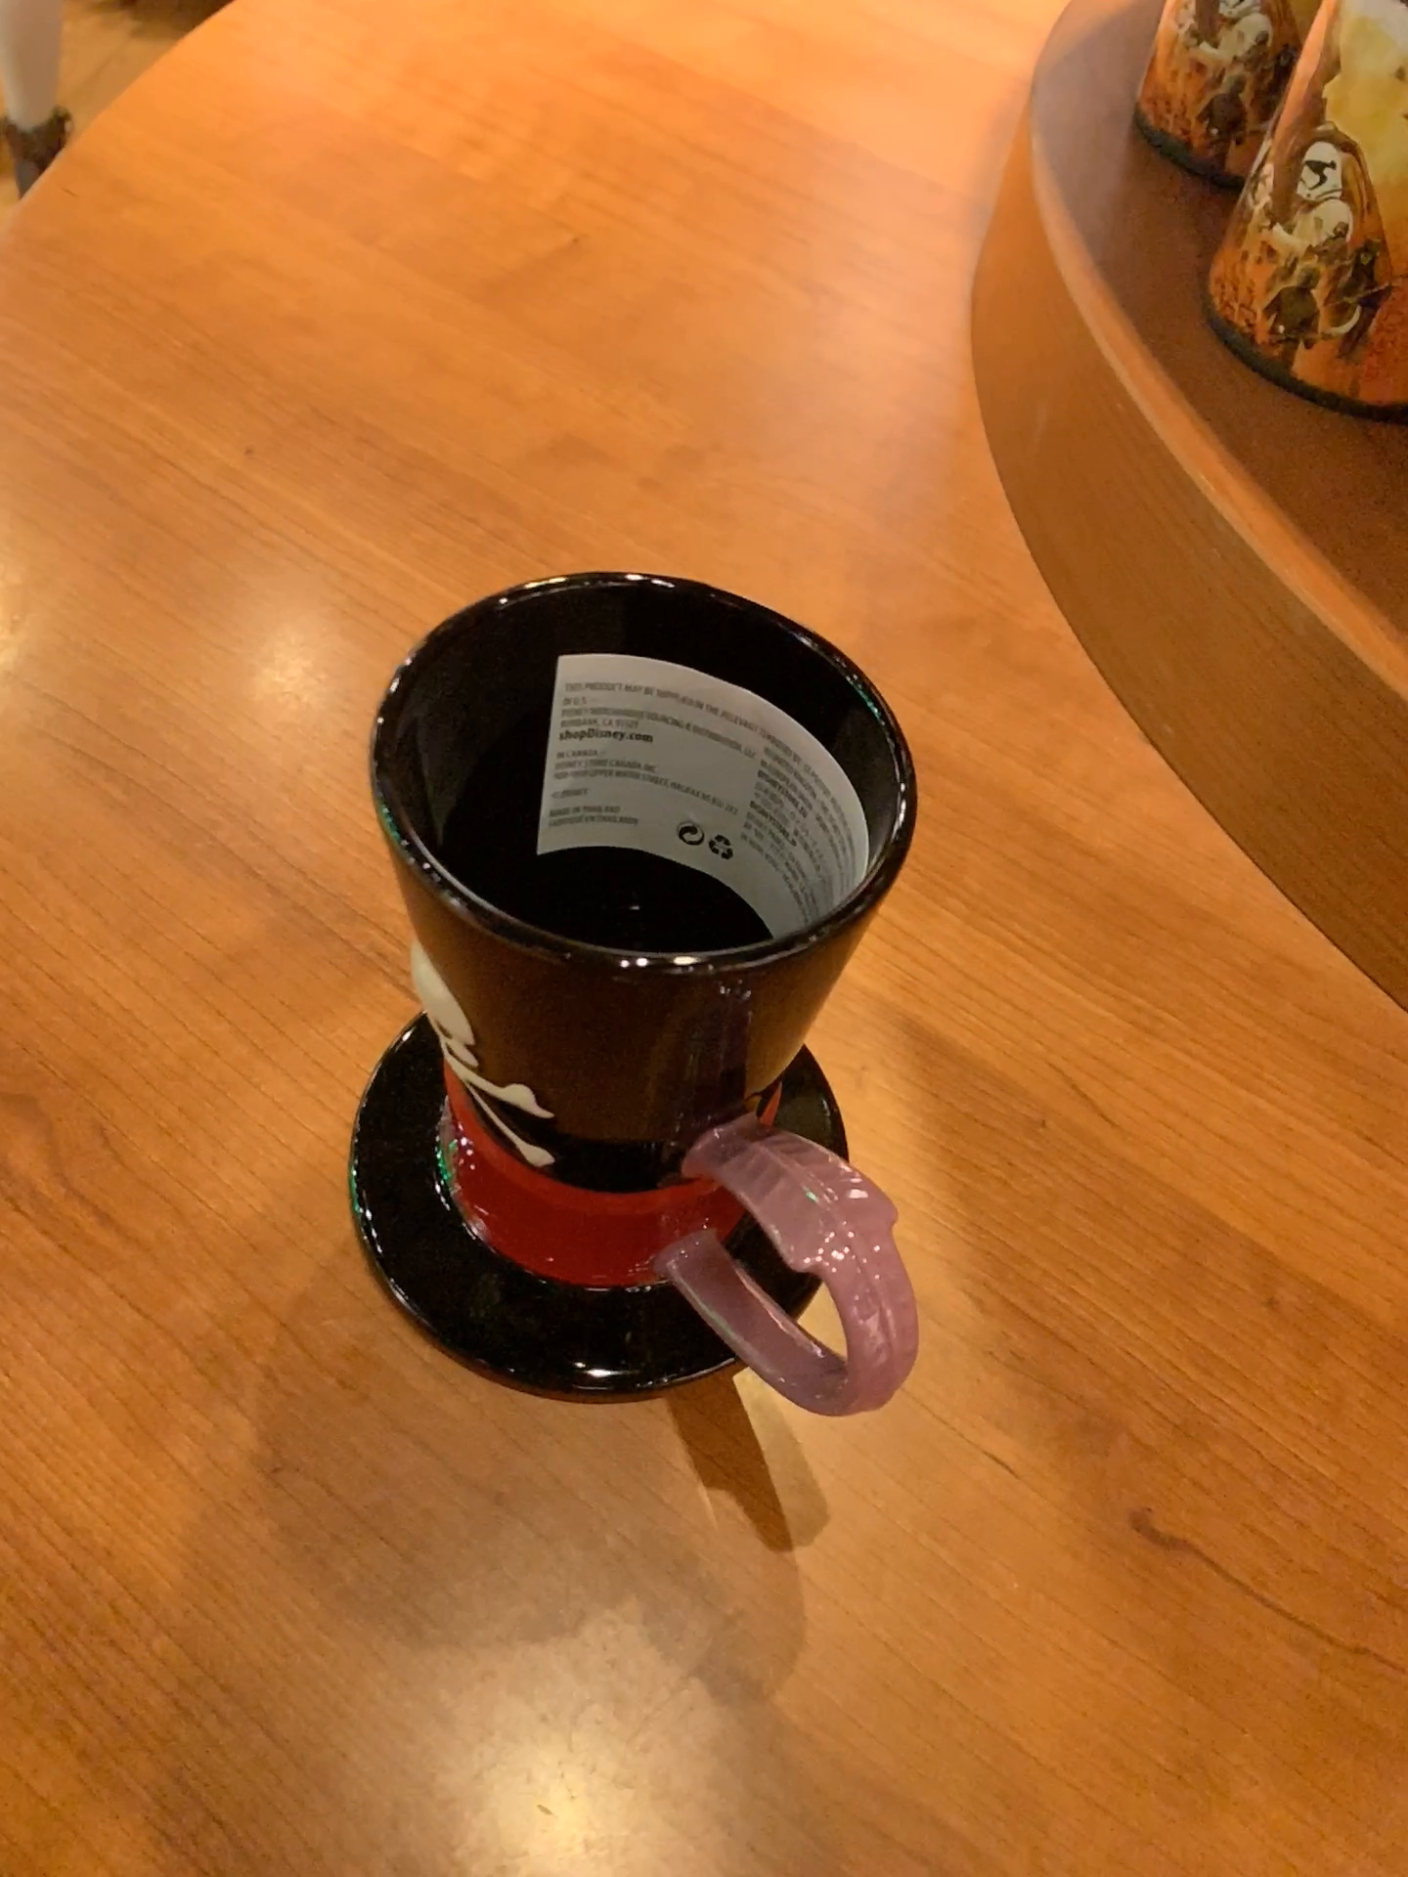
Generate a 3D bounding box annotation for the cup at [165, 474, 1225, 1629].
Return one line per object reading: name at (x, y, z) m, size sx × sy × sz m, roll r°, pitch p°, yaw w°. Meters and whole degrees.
cup at (-0.013, 0.023, 0.277) m, size 0.110 × 0.144 × 0.134 m, roll -22°, pitch 59°, yaw -22°
